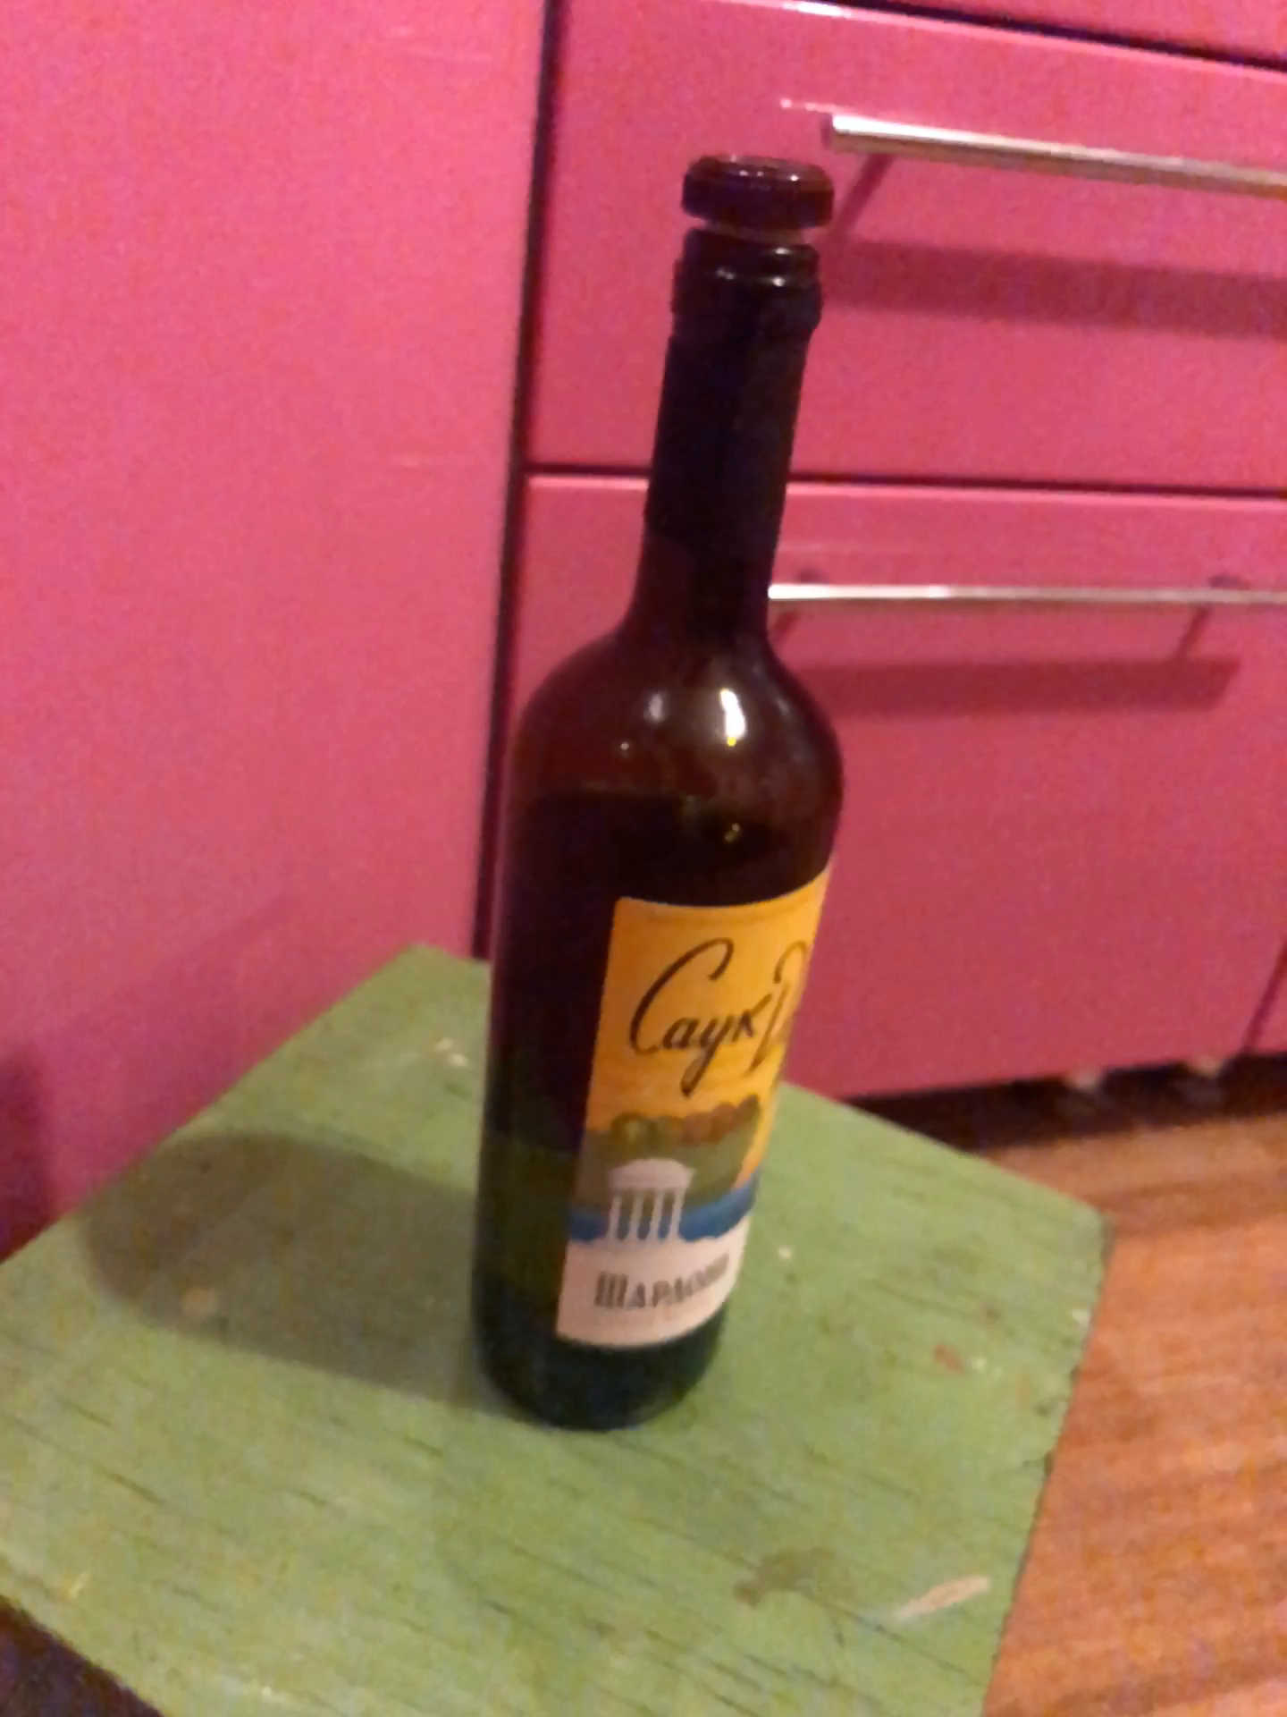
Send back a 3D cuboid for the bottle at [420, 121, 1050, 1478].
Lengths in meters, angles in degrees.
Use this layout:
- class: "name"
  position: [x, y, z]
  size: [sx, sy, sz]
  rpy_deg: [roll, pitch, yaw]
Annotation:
- class: "bottle"
  position: [0.004, 0.004, 0.335]
  size: [0.072, 0.301, 0.071]
  rpy_deg: [6, 29, -4]
